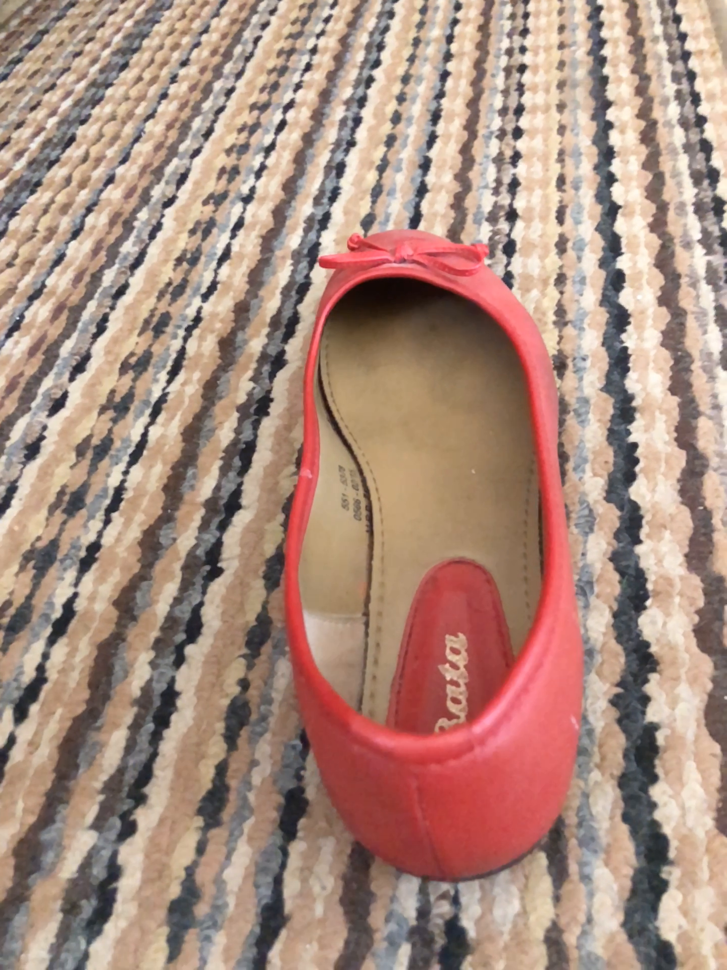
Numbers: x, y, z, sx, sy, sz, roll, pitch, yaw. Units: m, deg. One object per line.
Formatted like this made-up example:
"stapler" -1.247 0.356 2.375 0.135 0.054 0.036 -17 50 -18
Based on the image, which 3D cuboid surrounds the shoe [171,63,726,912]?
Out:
"shoe" 0.023 -0.020 0.272 0.100 0.110 0.270 -5 50 7
